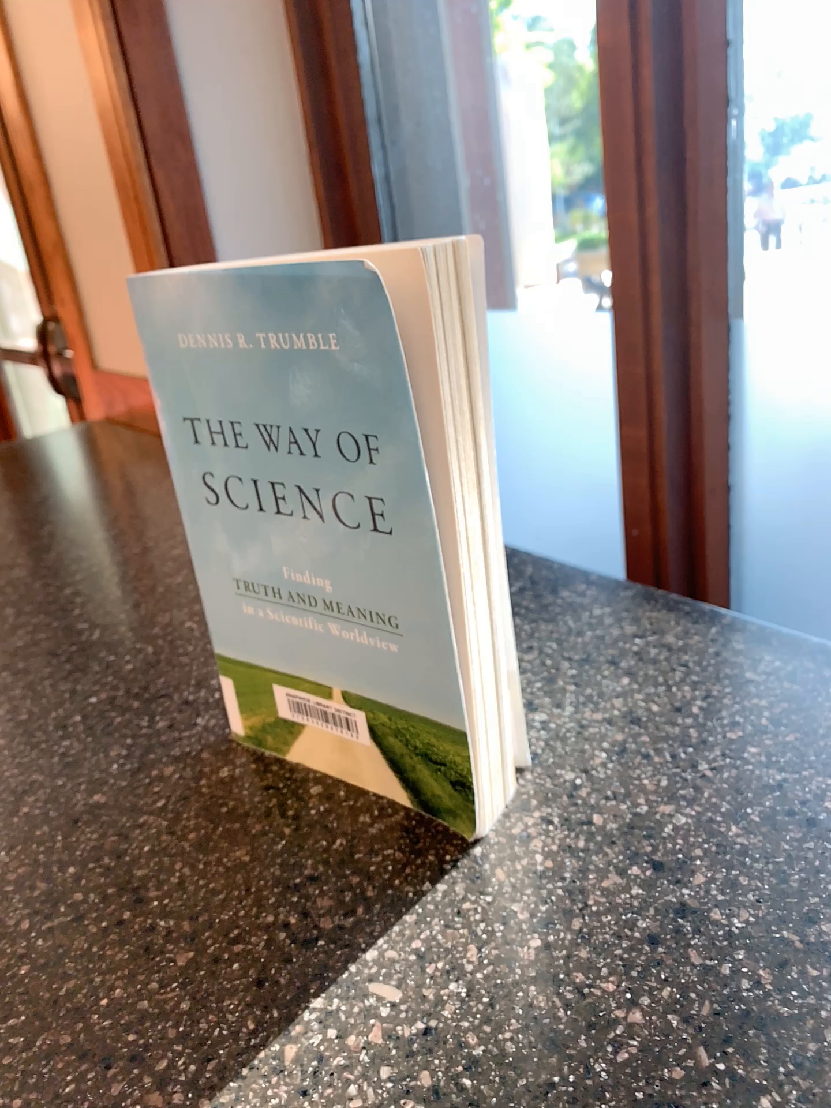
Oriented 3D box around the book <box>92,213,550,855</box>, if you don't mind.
[{"bbox_3d":[-0.037,-0.009,0.346,0.168,0.219,0.040,9,26,38],"label":"book"}]
